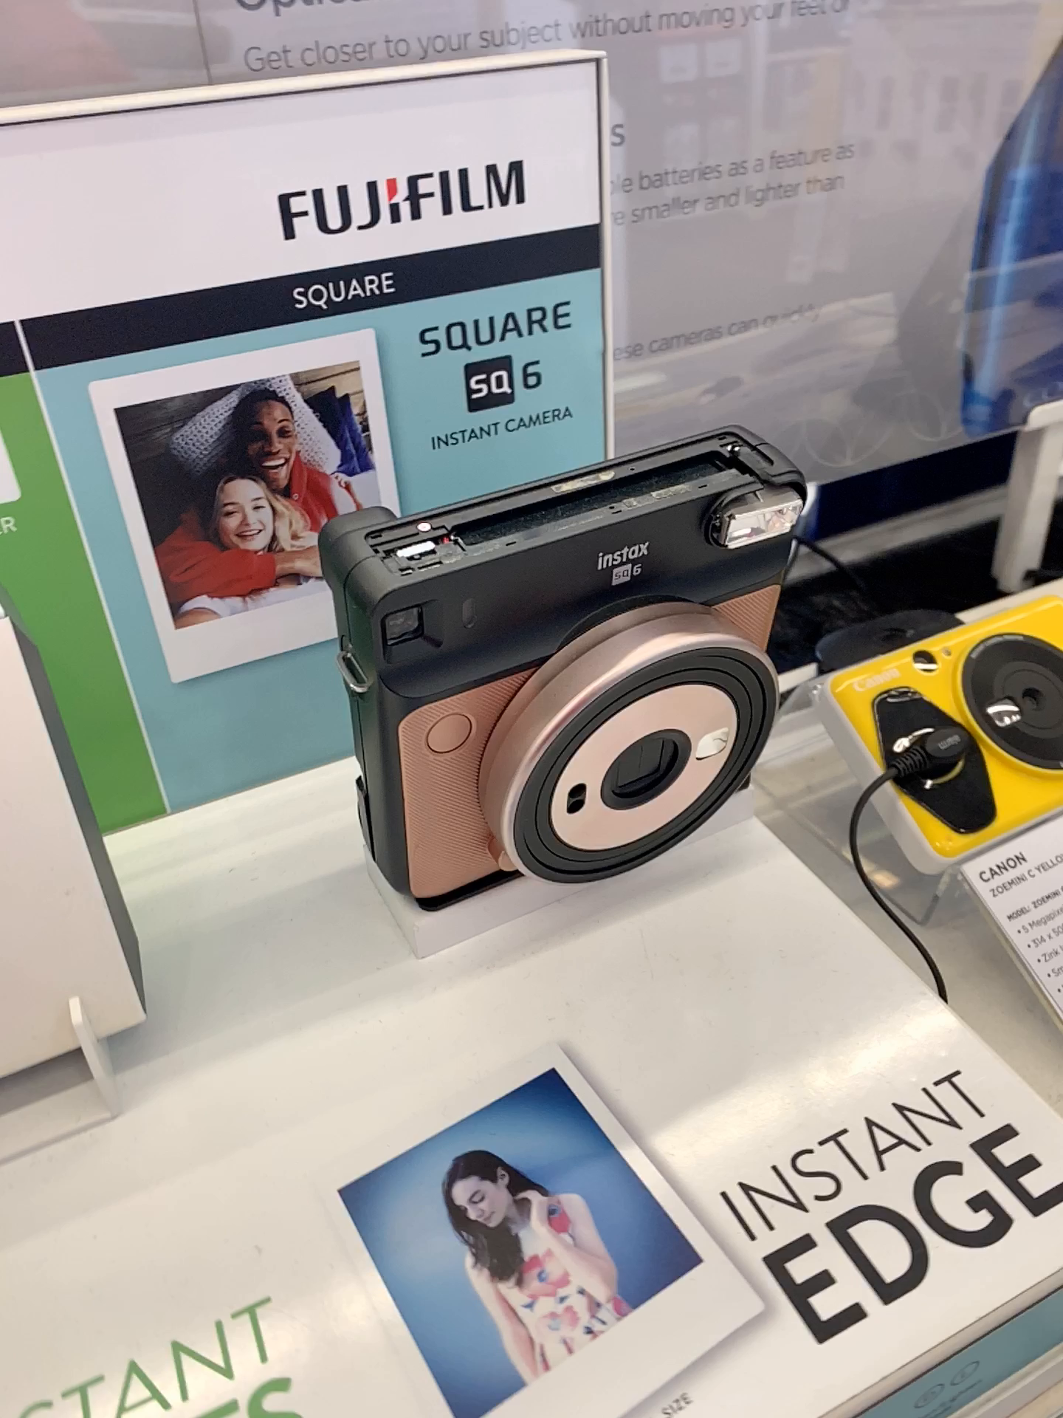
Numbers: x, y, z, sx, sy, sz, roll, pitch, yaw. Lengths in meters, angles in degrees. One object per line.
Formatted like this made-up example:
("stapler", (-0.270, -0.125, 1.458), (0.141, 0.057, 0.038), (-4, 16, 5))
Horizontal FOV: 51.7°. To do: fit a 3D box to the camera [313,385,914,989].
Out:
("camera", (0.019, -0.007, 0.299), (0.130, 0.119, 0.060), (-20, 48, -23))
